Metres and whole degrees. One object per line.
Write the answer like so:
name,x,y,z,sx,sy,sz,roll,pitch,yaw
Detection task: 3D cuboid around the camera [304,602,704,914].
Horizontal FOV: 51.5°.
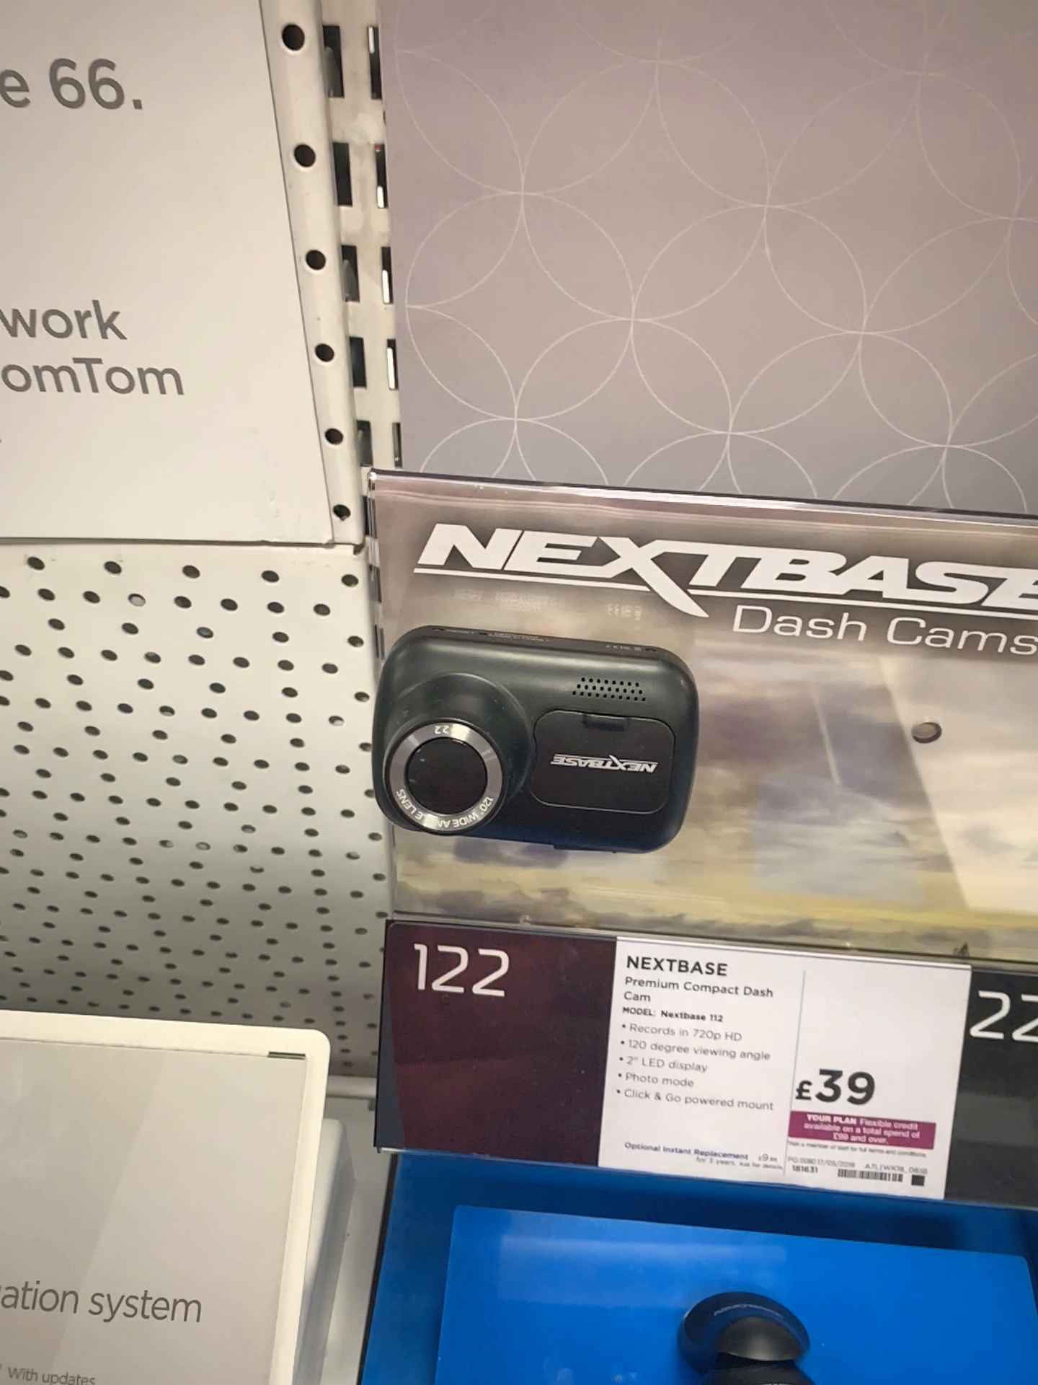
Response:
camera,-0.002,0.011,0.253,0.080,0.050,0.060,6,13,5
